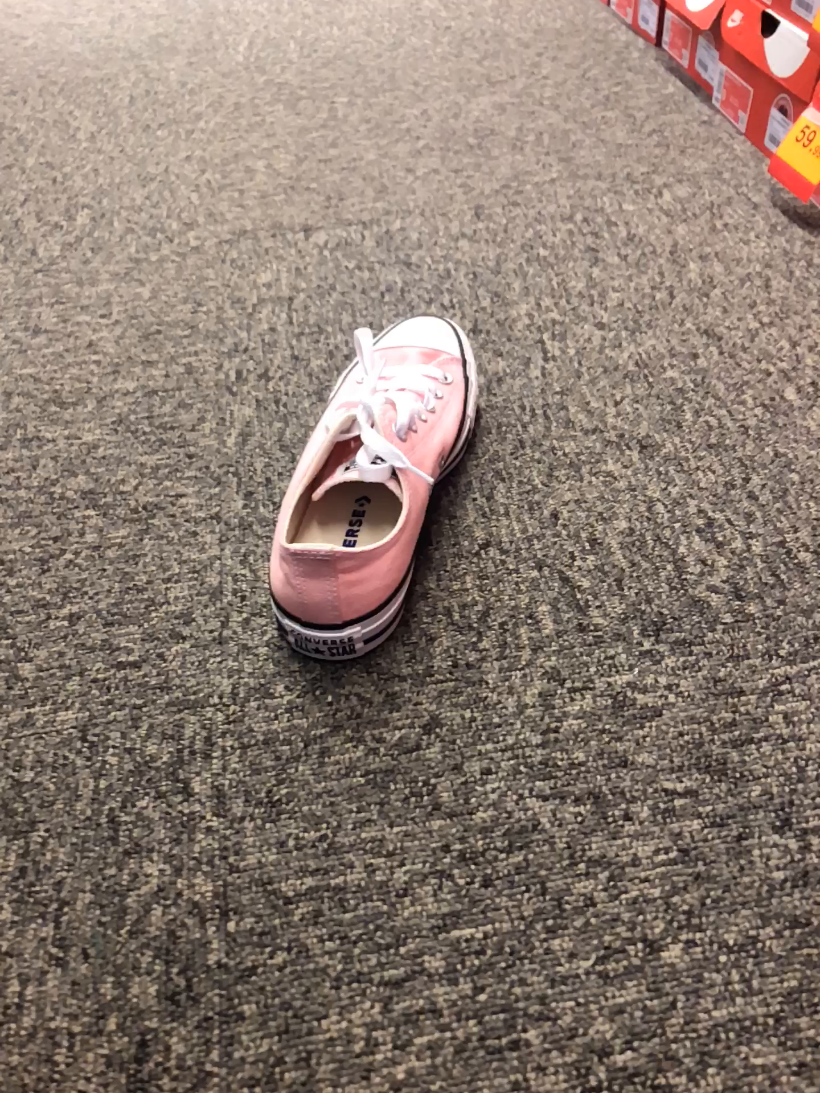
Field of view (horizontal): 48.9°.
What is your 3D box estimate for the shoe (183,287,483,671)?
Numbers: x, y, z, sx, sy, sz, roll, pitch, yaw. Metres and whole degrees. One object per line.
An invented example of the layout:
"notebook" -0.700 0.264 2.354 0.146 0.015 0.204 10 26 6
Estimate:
"shoe" -0.025 -0.059 0.518 0.100 0.060 0.282 5 41 9
